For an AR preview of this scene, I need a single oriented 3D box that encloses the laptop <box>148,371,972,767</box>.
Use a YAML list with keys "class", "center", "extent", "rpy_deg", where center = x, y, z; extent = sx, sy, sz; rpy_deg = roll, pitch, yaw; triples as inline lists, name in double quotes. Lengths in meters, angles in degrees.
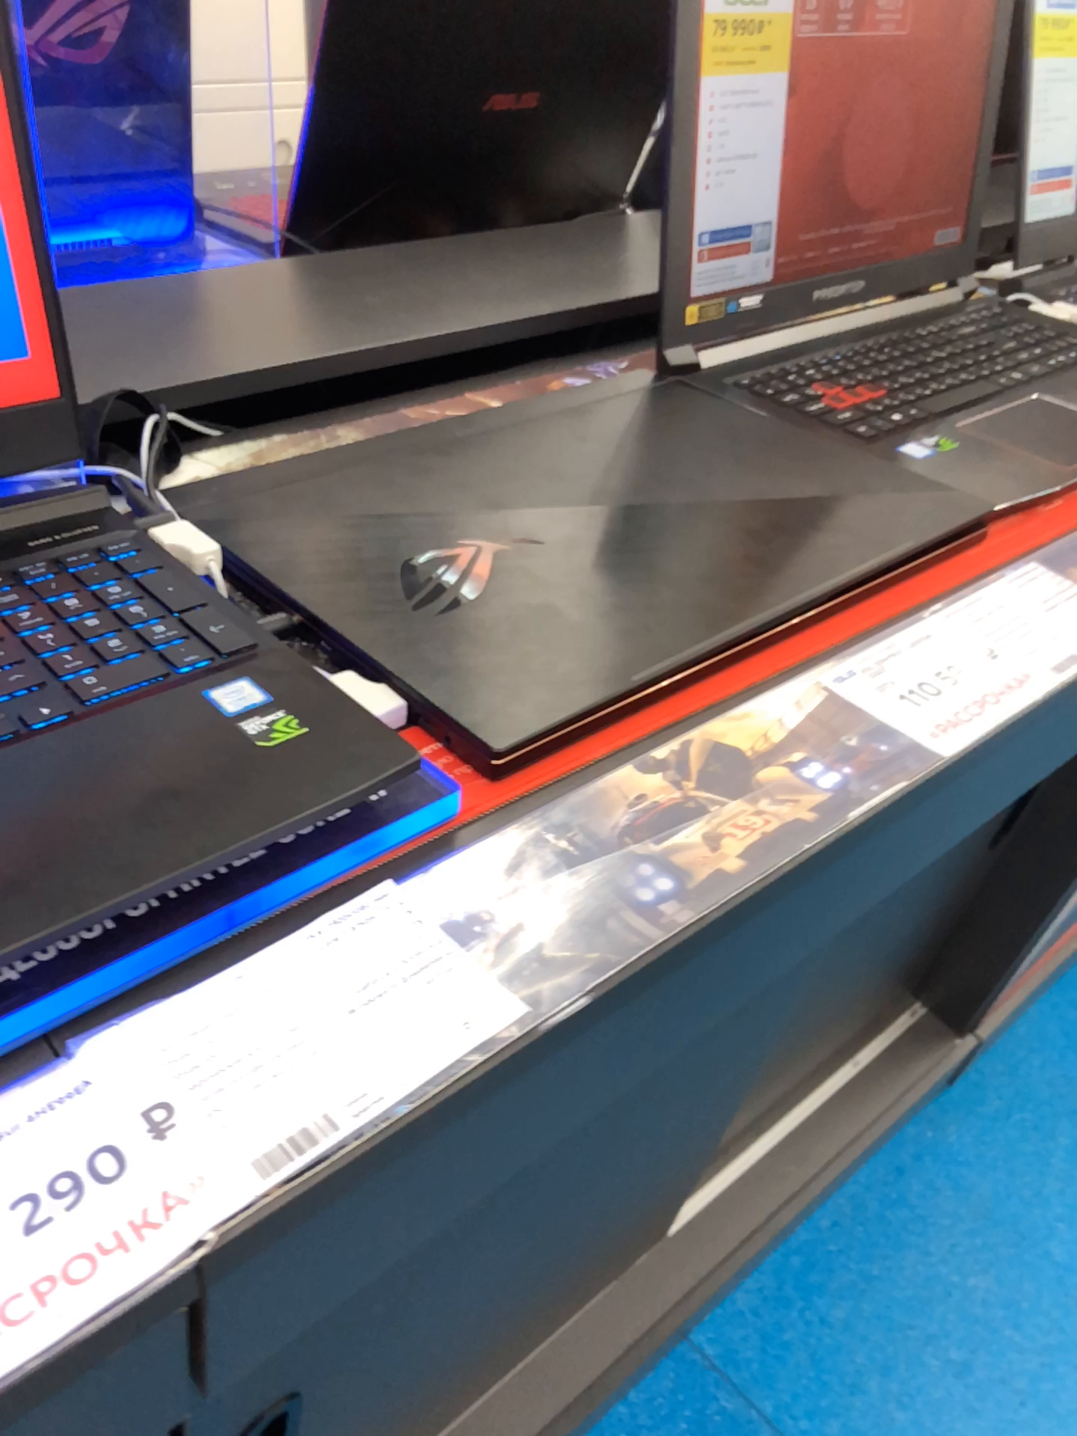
- class: "laptop"
  center: [0.022, -0.106, 0.613]
  extent: [0.349, 0.006, 0.254]
  rpy_deg: [-25, 46, -36]
